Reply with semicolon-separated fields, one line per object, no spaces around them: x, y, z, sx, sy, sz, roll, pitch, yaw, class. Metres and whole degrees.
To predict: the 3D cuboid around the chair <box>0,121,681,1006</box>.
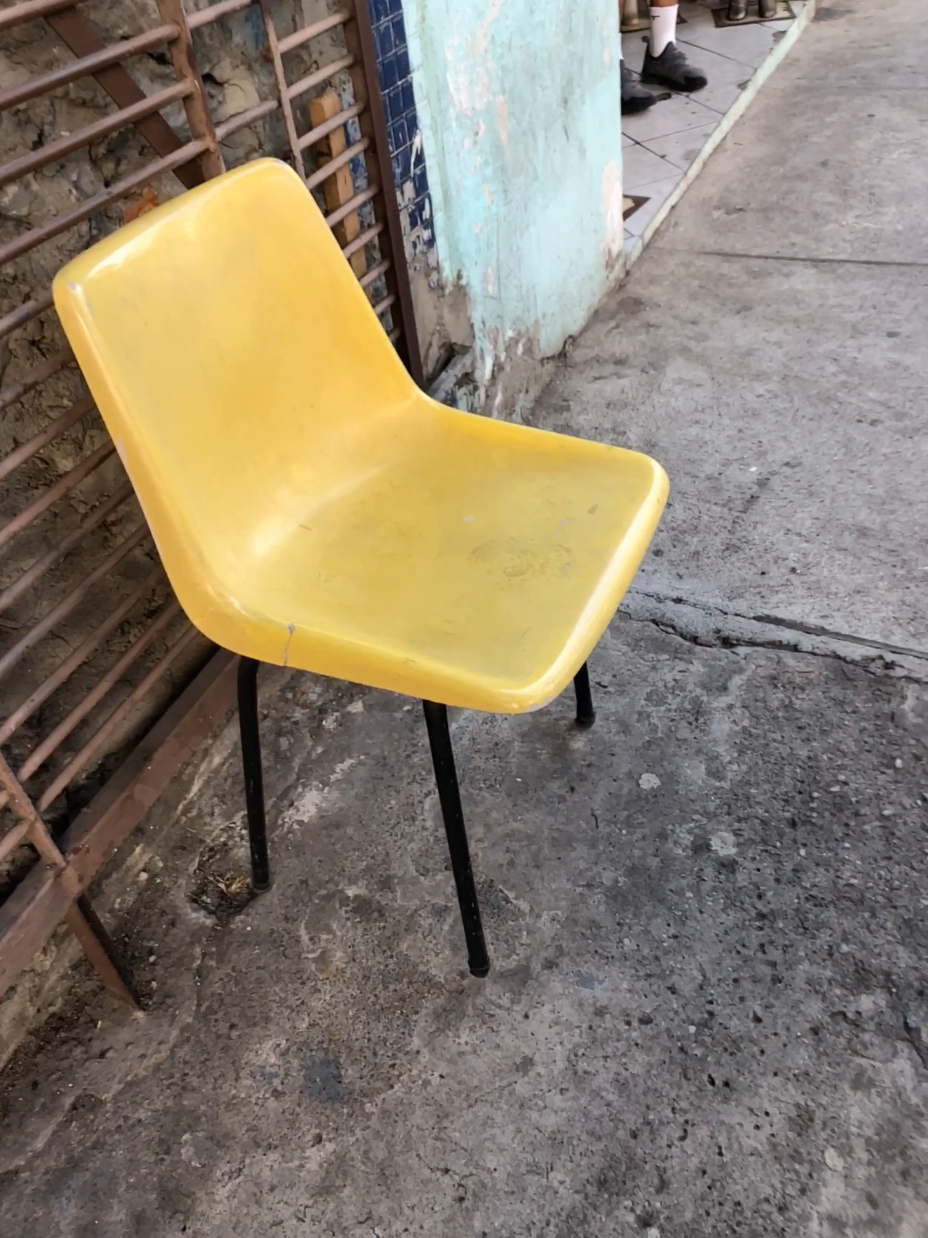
-0.078;-0.067;1.077;0.471;0.715;0.483;12;45;23;chair
